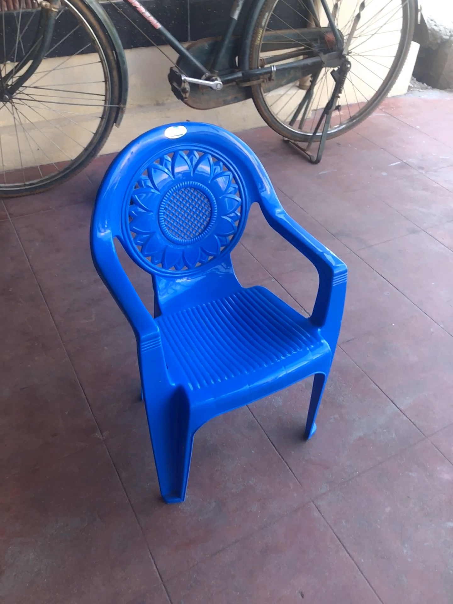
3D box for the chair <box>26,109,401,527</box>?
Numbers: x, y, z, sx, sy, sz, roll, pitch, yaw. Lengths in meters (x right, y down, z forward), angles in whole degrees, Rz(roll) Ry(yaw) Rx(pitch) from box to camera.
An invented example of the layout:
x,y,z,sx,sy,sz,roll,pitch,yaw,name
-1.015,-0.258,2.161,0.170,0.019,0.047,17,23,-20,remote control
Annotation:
x,y,z,sx,sy,sz,roll,pitch,yaw,name
-0.056,0.006,0.907,0.401,0.497,0.451,-18,46,-22,chair
